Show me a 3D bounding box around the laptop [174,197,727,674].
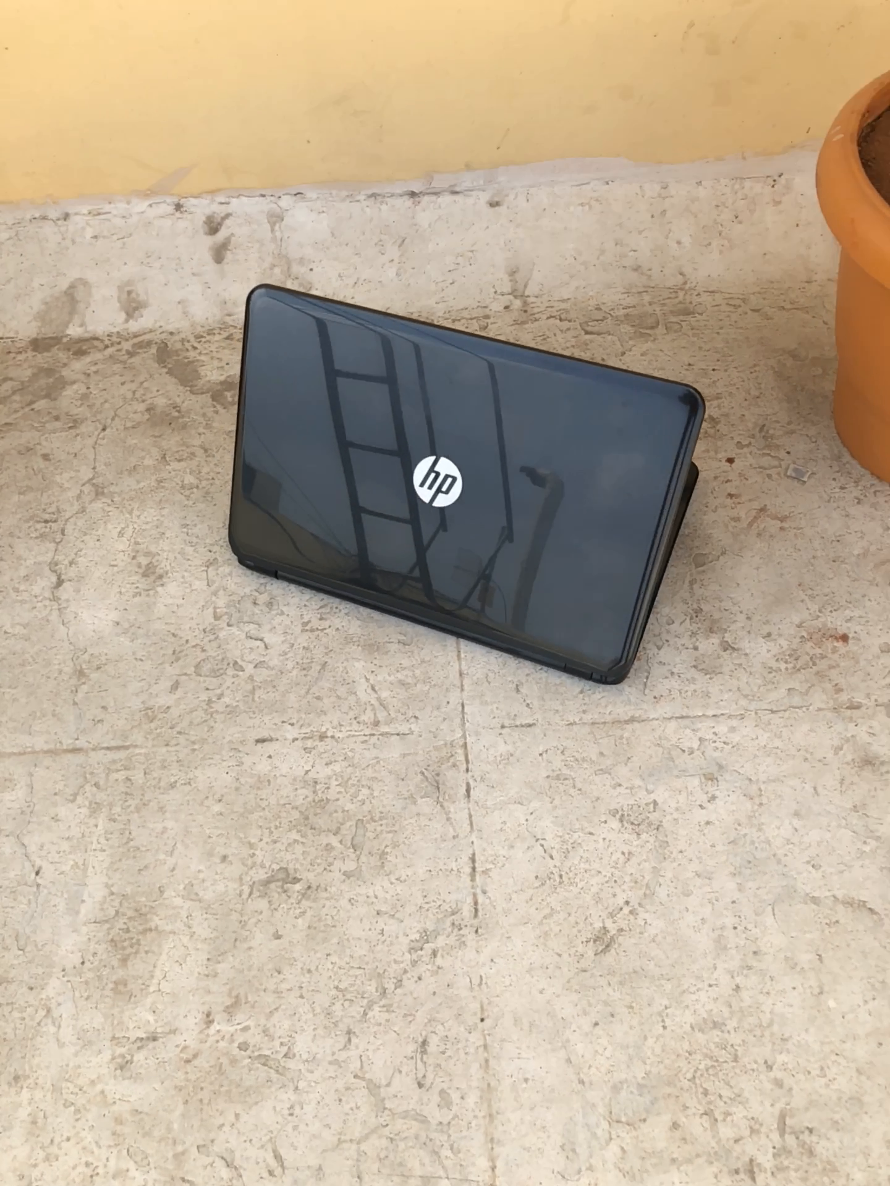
[{"bbox_3d":[0.010,-0.130,0.795,0.345,0.189,0.222,18,62,14],"label":"laptop"}]
